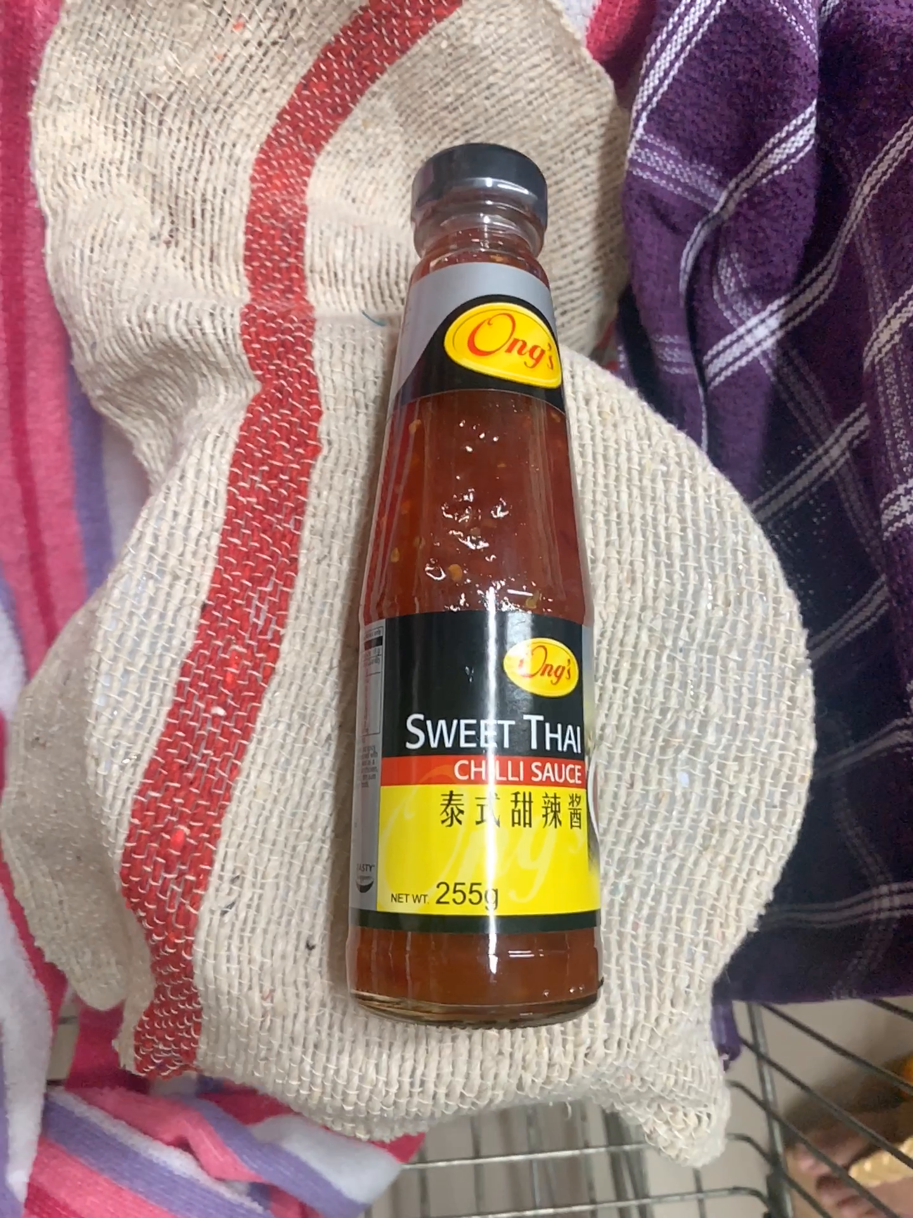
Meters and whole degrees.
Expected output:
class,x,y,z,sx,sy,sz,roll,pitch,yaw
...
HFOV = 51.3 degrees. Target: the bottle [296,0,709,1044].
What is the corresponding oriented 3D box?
class,x,y,z,sx,sy,sz,roll,pitch,yaw
bottle,0.012,-0.017,0.201,0.060,0.050,0.190,10,77,-28
